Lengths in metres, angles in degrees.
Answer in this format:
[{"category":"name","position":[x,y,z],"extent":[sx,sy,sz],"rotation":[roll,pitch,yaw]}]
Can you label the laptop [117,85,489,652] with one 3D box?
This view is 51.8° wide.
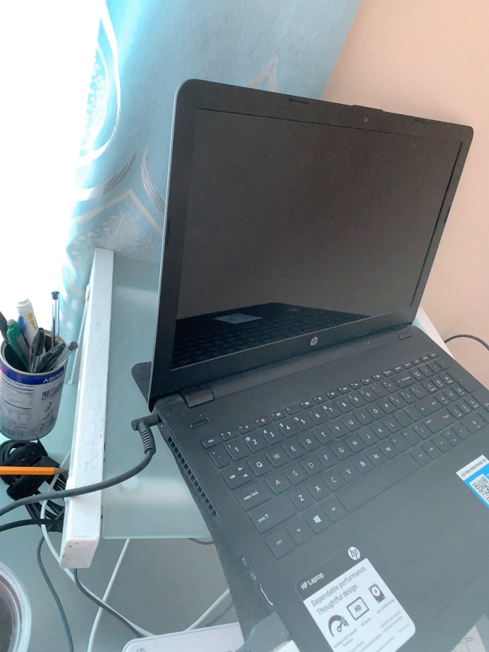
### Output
[{"category":"laptop","position":[0.152,0.008,0.396],"extent":[0.365,0.222,0.308],"rotation":[-12,48,-39]}]
